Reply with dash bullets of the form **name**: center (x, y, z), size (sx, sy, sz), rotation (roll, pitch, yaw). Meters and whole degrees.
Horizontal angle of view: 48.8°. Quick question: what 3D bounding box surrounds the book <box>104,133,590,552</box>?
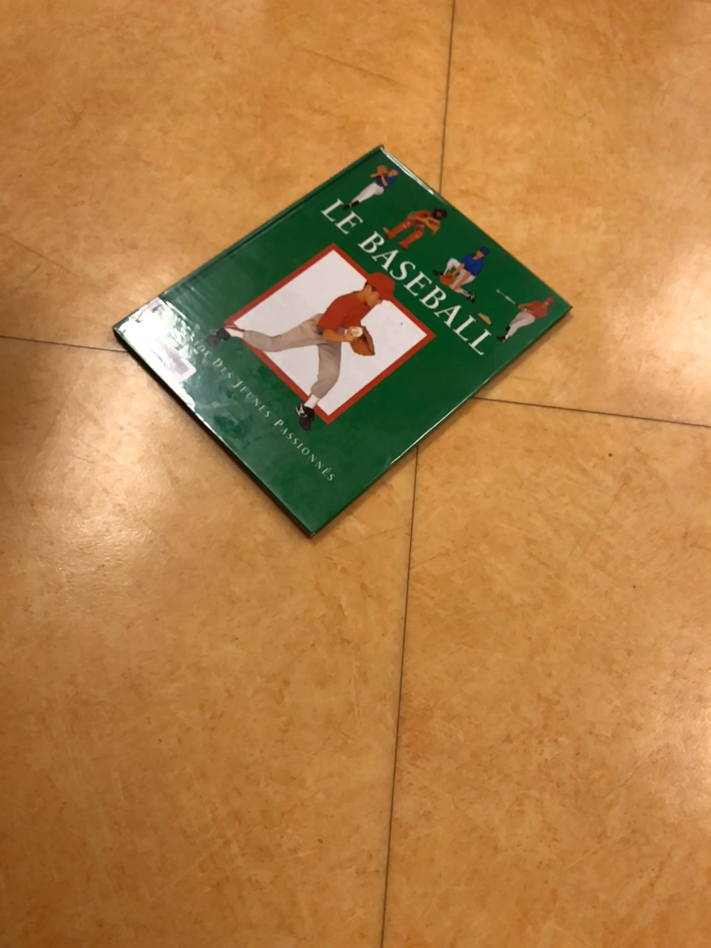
- **book**: center (0.000, -0.114, 0.579), size (0.281, 0.020, 0.219), rotation (-40, 76, -19)
